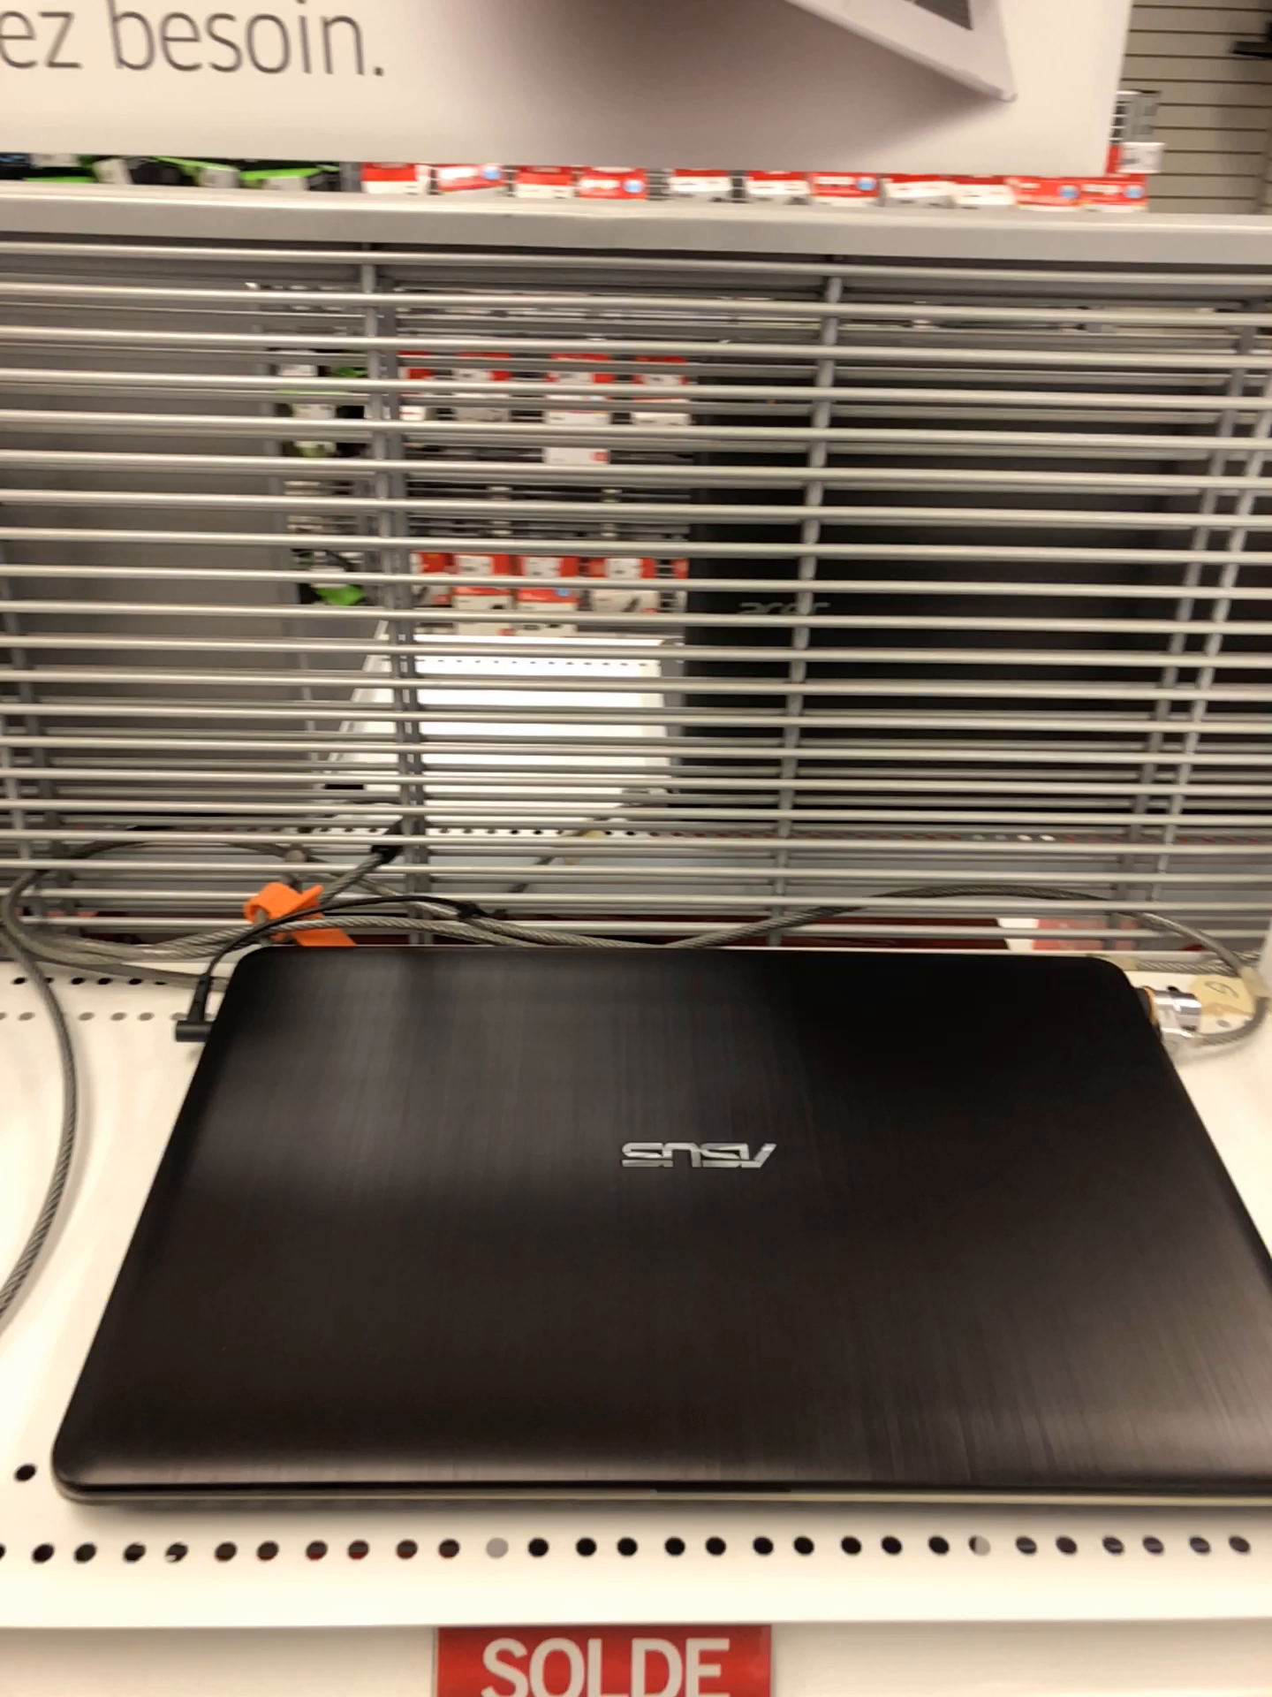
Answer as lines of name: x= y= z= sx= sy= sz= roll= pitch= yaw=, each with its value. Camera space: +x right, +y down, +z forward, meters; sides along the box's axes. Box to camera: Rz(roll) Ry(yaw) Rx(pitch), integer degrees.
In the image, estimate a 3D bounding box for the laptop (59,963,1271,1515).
laptop: x=0.023 y=0.122 z=0.503 sx=0.367 sy=0.013 sz=0.235 roll=2 pitch=33 yaw=-4
